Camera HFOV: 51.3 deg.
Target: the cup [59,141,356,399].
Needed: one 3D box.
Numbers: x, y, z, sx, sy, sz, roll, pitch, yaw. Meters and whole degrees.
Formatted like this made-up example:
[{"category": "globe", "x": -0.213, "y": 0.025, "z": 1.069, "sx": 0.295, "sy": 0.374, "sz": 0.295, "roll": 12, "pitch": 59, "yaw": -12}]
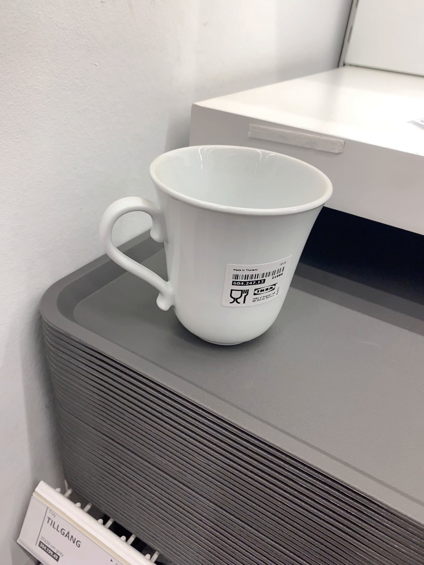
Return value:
[{"category": "cup", "x": -0.011, "y": -0.019, "z": 0.262, "sx": 0.130, "sy": 0.100, "sz": 0.100, "roll": -10, "pitch": 35, "yaw": -24}]
